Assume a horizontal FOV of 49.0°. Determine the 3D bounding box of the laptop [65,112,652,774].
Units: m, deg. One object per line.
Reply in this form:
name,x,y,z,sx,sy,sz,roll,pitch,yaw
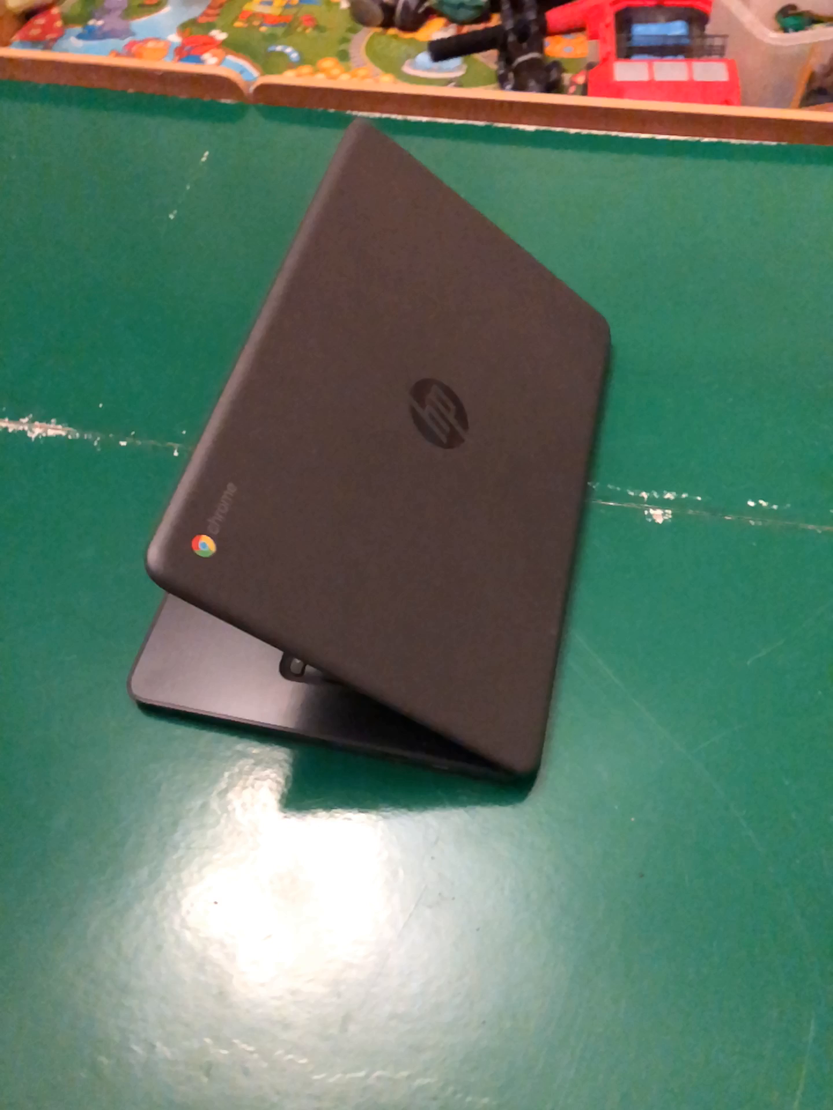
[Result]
laptop,-0.004,-0.077,0.499,0.208,0.144,0.318,10,57,10
